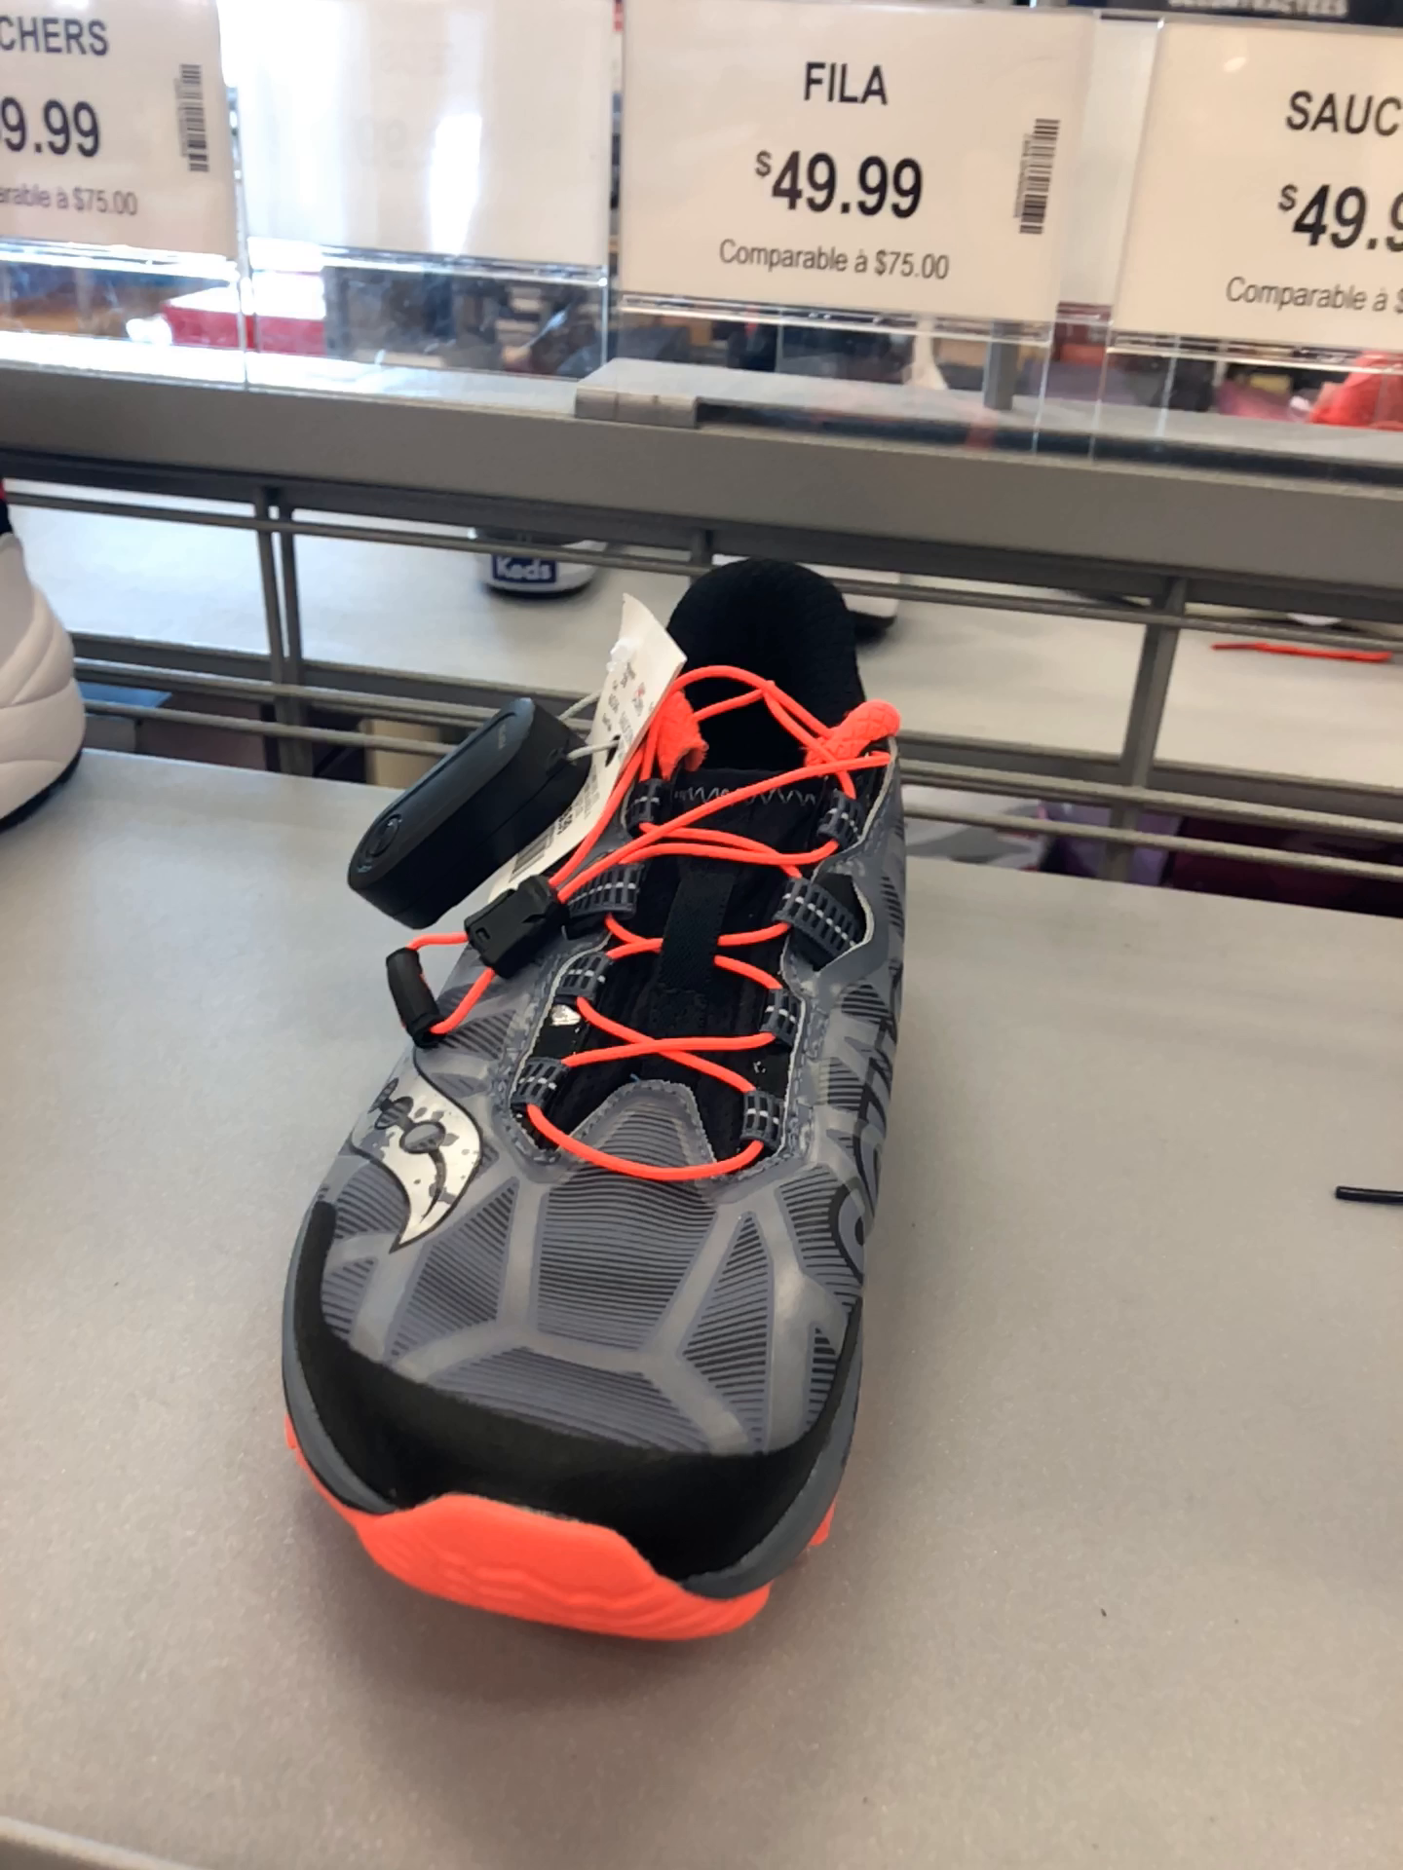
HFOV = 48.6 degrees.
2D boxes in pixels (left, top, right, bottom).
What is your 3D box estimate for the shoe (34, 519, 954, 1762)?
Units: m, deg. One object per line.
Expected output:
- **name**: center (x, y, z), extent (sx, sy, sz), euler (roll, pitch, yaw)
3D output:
- **shoe**: center (-0.010, 0.003, 0.345), extent (0.110, 0.109, 0.292), euler (7, 29, 7)
